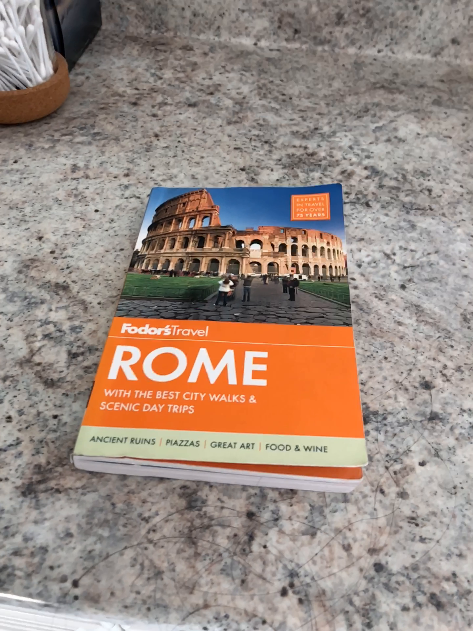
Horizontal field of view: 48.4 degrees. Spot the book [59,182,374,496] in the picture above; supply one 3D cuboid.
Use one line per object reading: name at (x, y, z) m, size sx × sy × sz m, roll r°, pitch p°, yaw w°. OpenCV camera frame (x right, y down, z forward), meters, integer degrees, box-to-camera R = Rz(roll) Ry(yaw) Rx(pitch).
book at (-0.002, -0.005, 0.307) m, size 0.139 × 0.024 × 0.208 m, roll 2°, pitch 49°, yaw 5°
